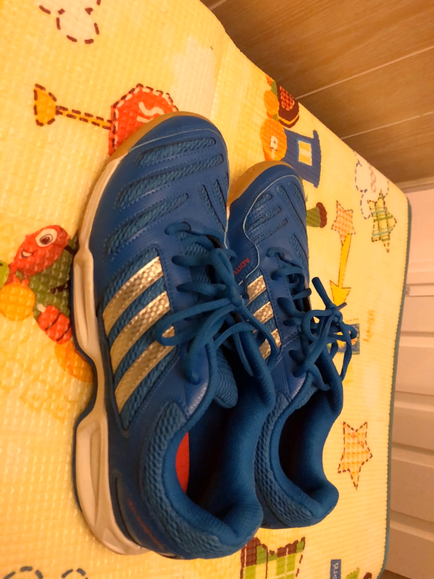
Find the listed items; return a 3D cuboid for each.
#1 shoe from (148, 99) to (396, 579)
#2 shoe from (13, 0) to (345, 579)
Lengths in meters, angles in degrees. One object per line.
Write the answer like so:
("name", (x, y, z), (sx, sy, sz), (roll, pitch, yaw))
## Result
("shoe", (0.046, 0.034, 0.361), (0.110, 0.119, 0.290), (14, 78, -44))
("shoe", (-0.020, 0.010, 0.296), (0.110, 0.139, 0.290), (13, 79, -44))
